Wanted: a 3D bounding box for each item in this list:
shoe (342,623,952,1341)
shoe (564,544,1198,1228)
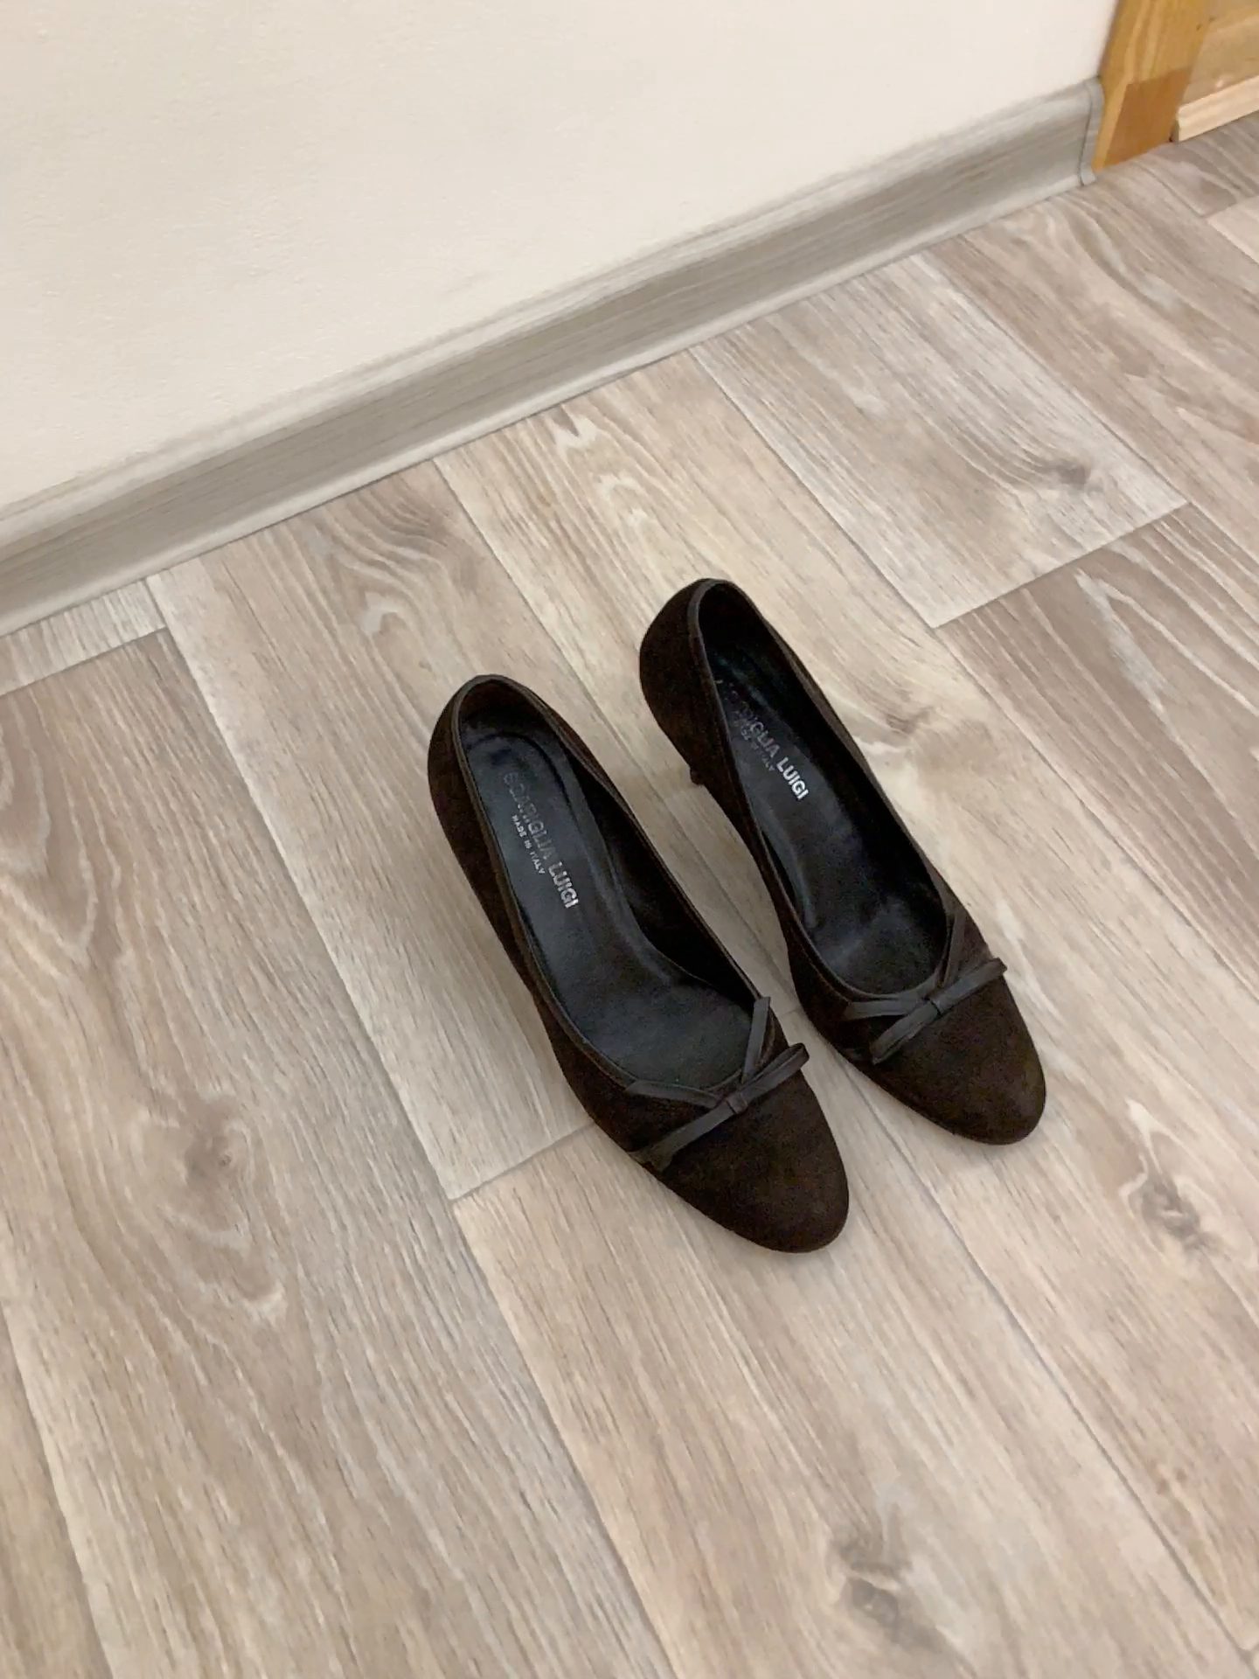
[{"bbox_3d":[-0.003,0.051,0.507,0.080,0.110,0.261,-32,64,-15],"label":"shoe"},{"bbox_3d":[0.084,0.014,0.525,0.080,0.110,0.261,-33,64,-16],"label":"shoe"}]
